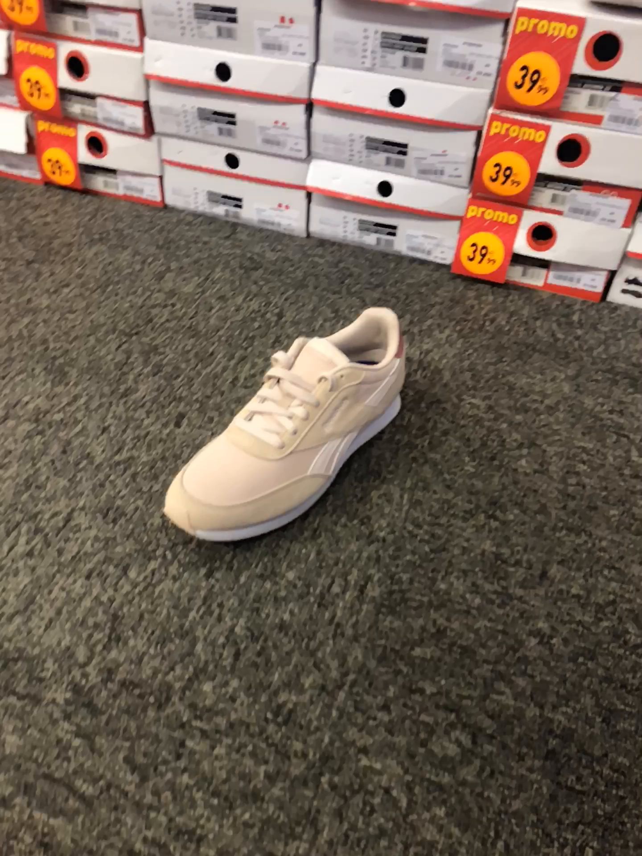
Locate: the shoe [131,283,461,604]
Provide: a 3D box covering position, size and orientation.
[{"bbox_3d":[-0.009,-0.001,0.580,0.100,0.109,0.271,32,50,27],"label":"shoe"}]
